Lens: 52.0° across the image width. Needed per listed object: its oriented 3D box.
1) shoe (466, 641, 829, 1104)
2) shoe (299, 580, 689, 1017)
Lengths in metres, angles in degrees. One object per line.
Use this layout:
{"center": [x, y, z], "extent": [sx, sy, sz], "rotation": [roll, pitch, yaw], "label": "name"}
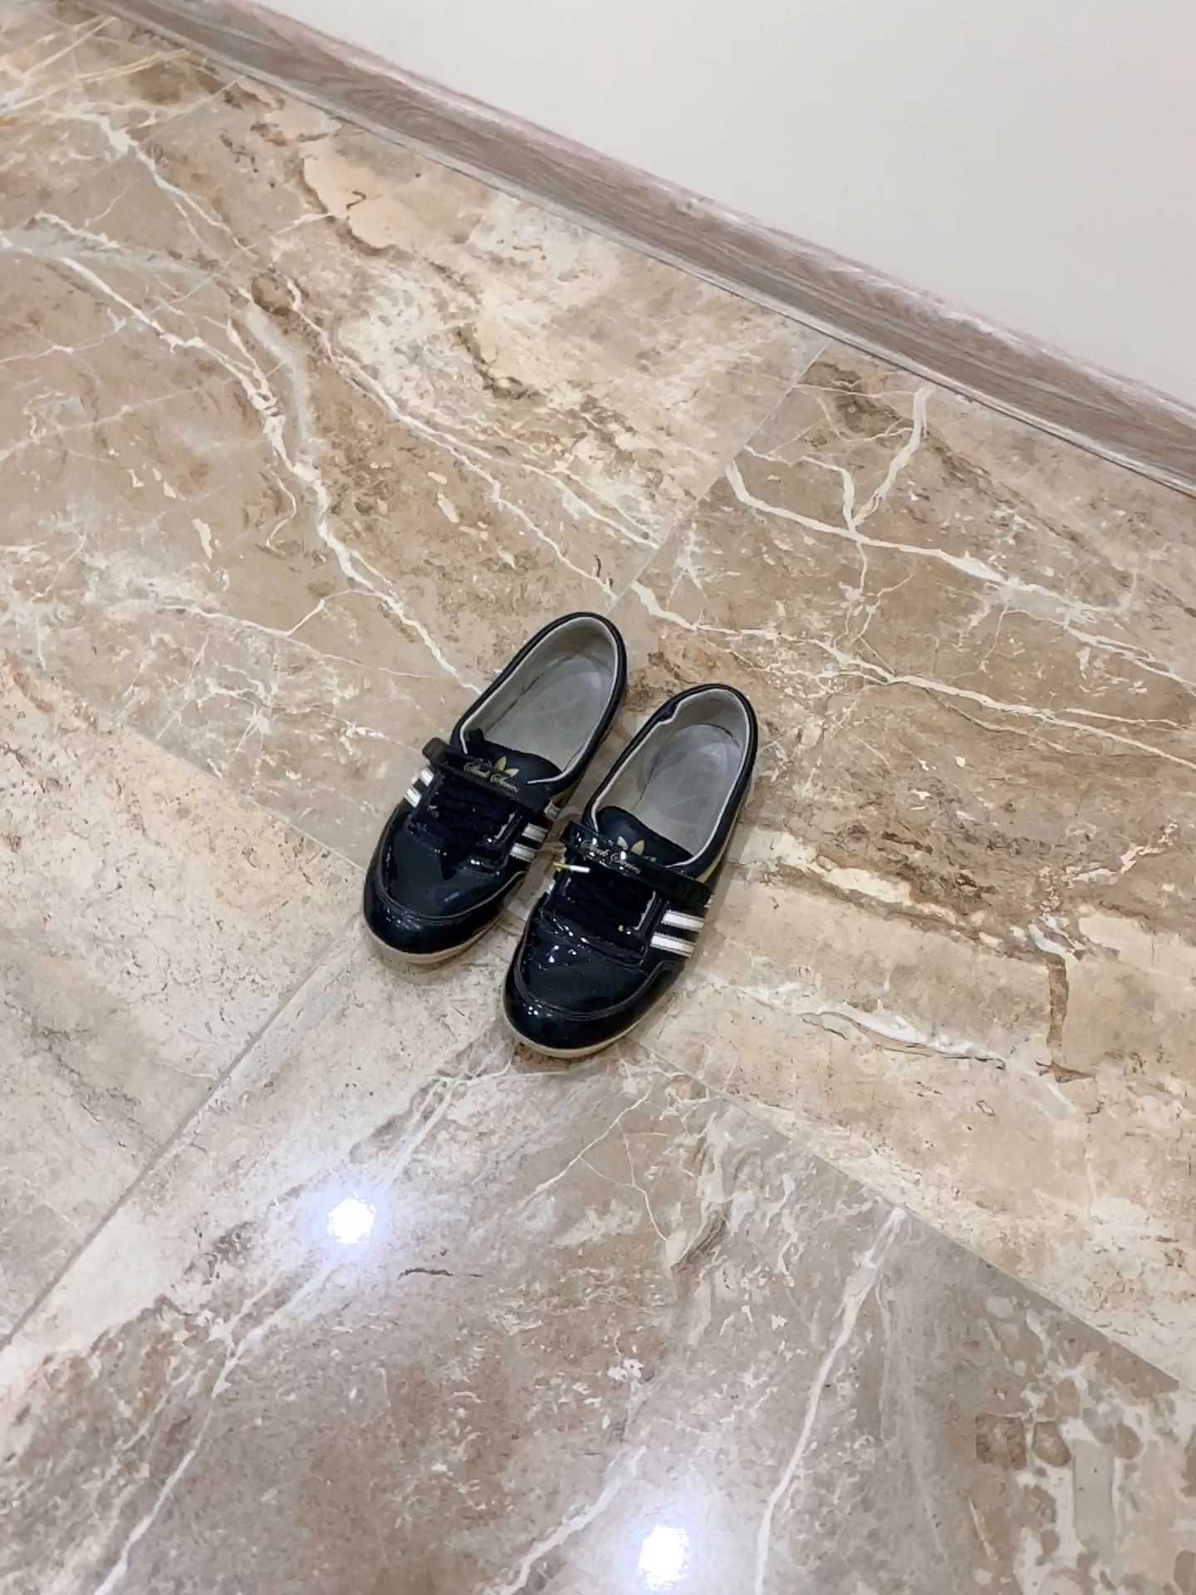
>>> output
{"center": [0.032, 0.034, 0.676], "extent": [0.095, 0.060, 0.241], "rotation": [26, 61, 11], "label": "shoe"}
{"center": [-0.051, -0.007, 0.697], "extent": [0.095, 0.060, 0.241], "rotation": [29, 62, 13], "label": "shoe"}
